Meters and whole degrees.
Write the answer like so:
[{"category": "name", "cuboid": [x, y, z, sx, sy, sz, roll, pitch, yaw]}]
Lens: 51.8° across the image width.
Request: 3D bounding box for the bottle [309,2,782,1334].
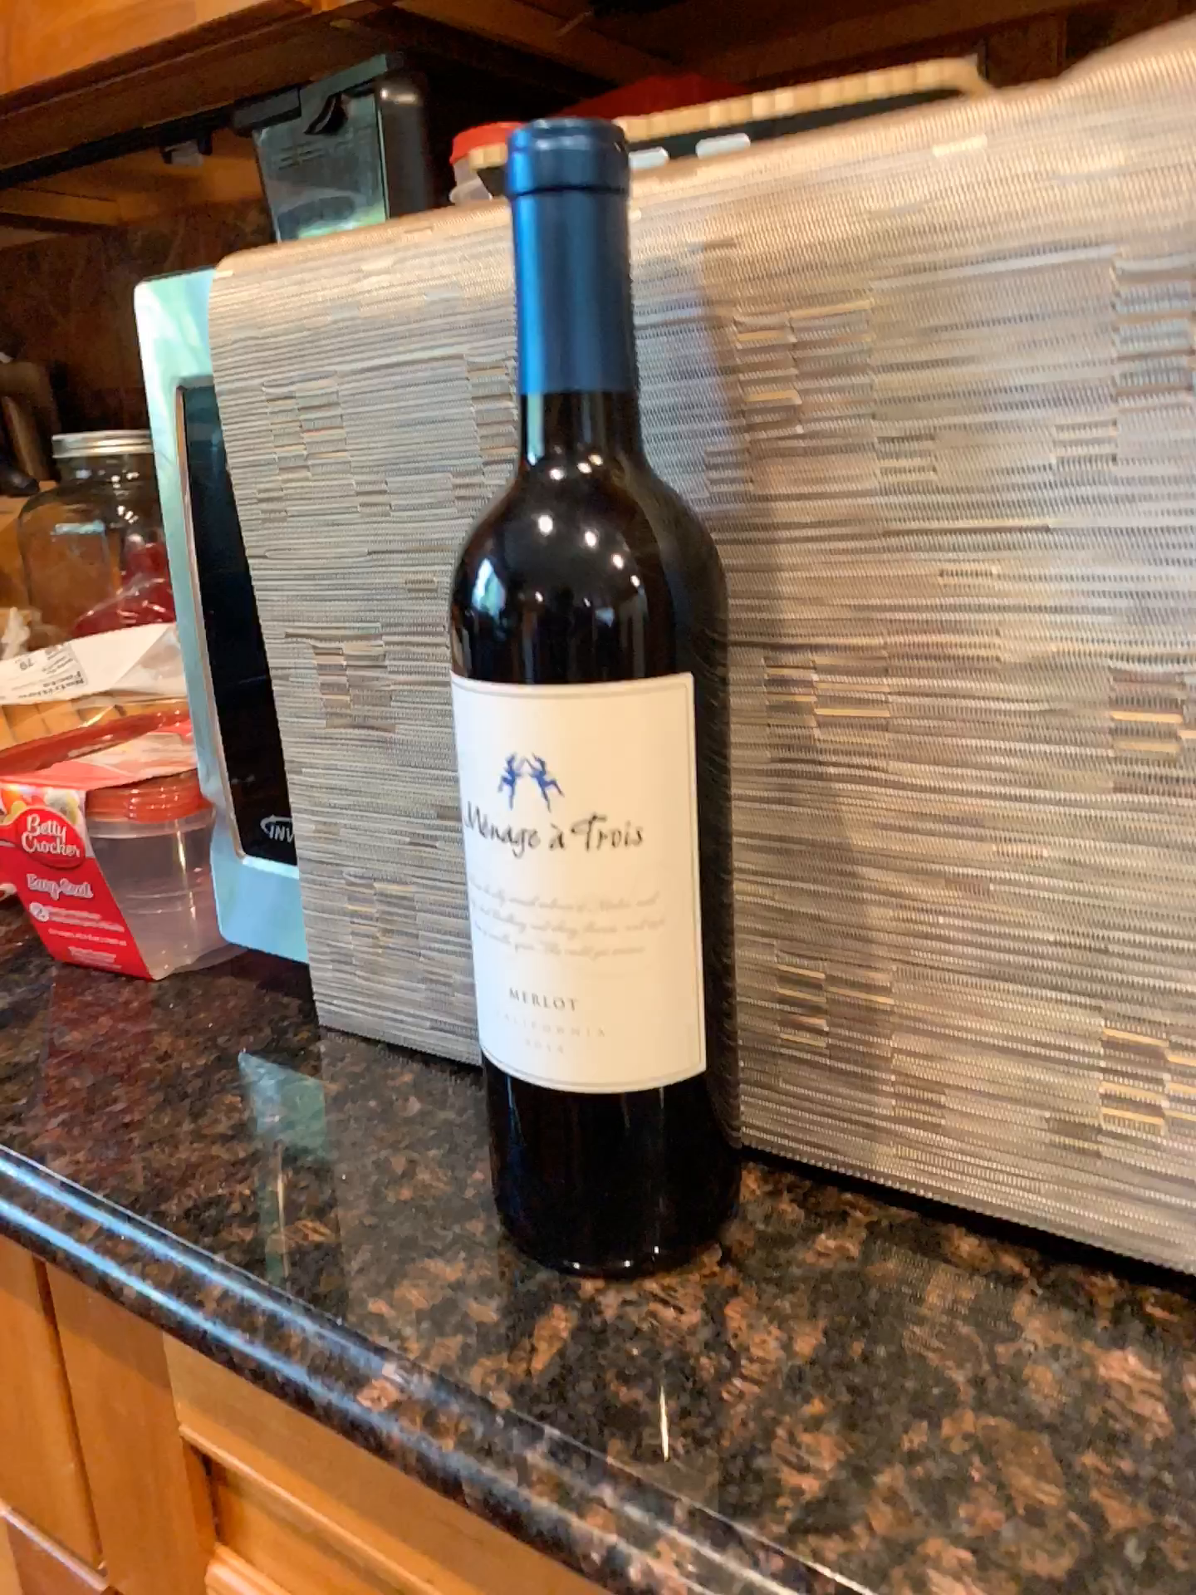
[{"category": "bottle", "cuboid": [-0.004, -0.023, 0.337, 0.080, 0.309, 0.080, -3, 15, 1]}]
